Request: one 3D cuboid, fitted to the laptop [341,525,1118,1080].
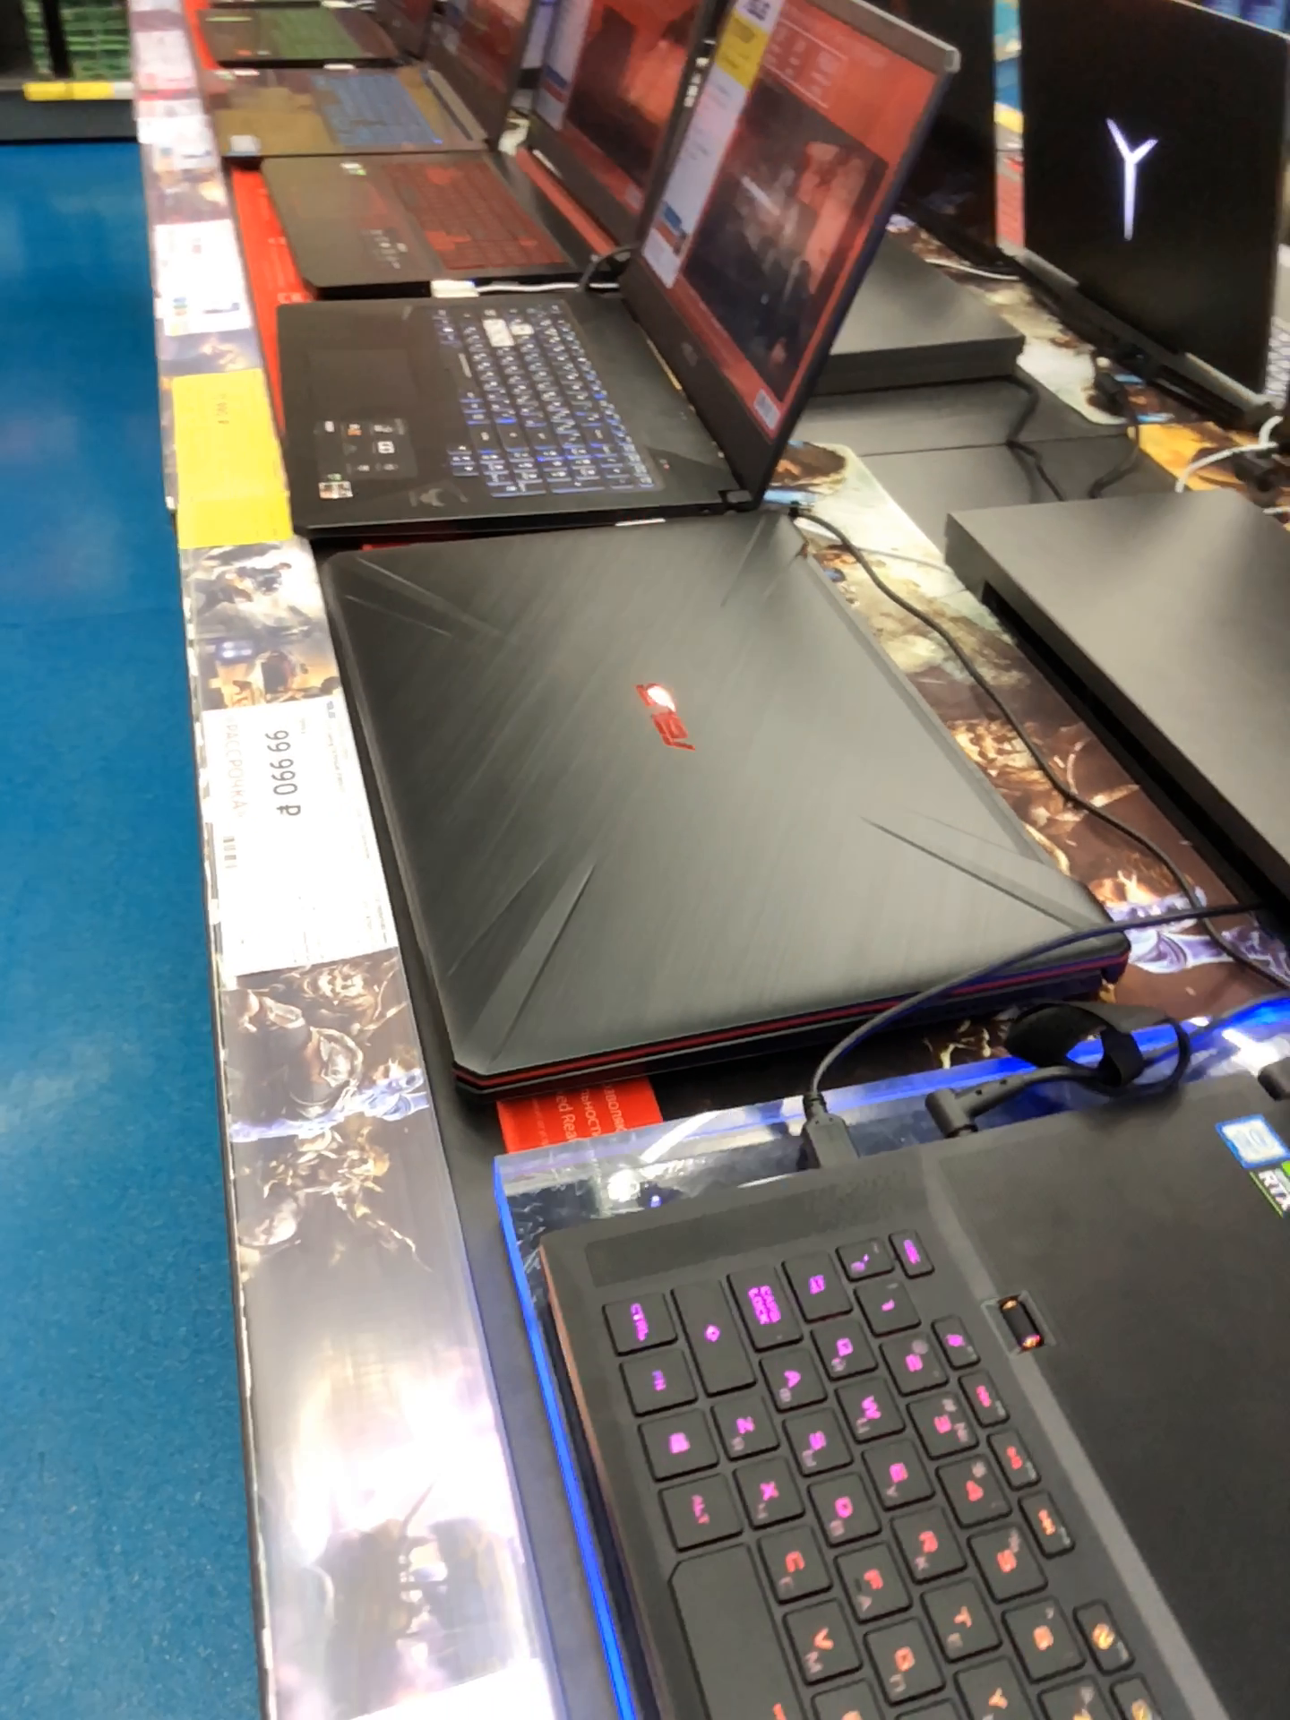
[{"bbox_3d":[0.009,-0.062,0.664,0.252,0.002,0.390,-8,40,-15],"label":"laptop"}]
